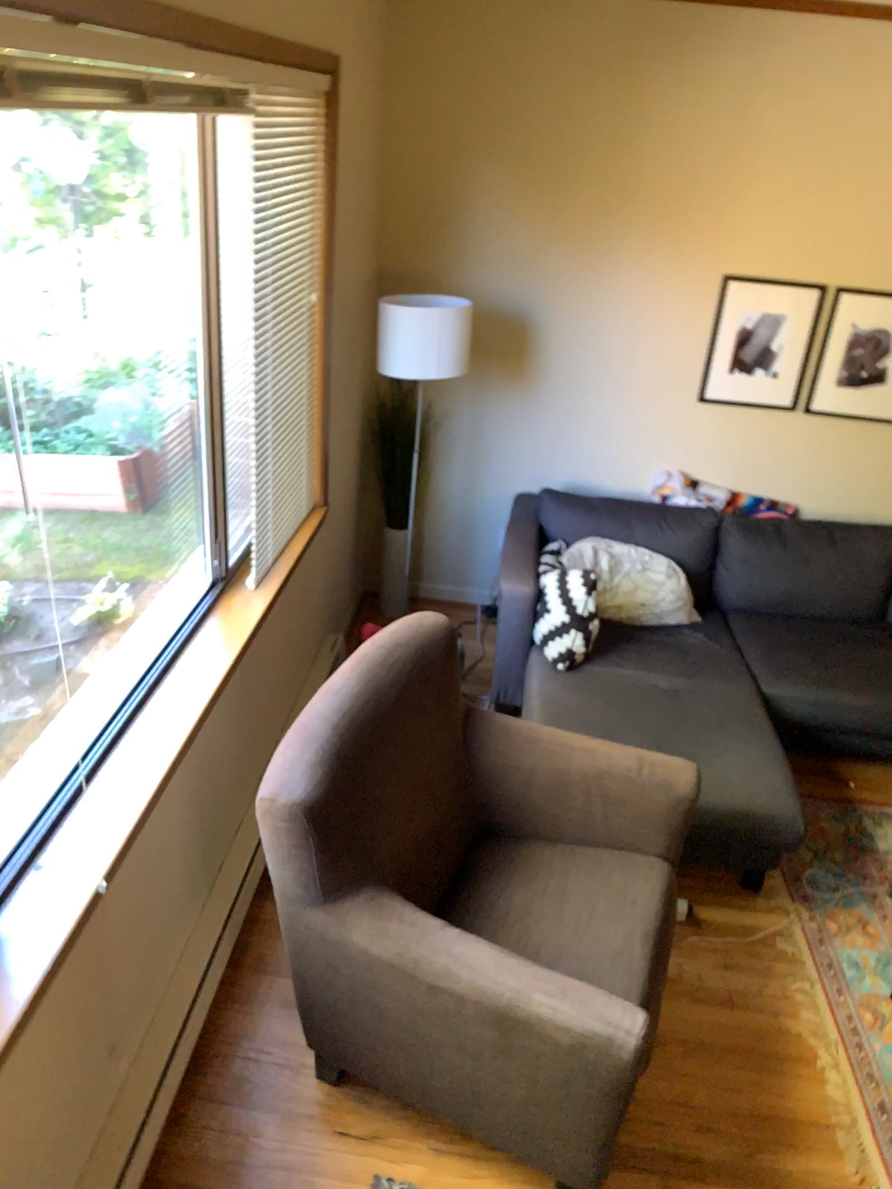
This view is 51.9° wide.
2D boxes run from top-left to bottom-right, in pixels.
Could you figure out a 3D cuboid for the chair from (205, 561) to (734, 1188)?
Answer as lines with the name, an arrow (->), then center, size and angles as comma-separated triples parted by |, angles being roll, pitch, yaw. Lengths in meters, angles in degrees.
chair -> 0.105, 0.564, 1.982 | 0.800, 0.876, 0.884 | 11, 27, 16
